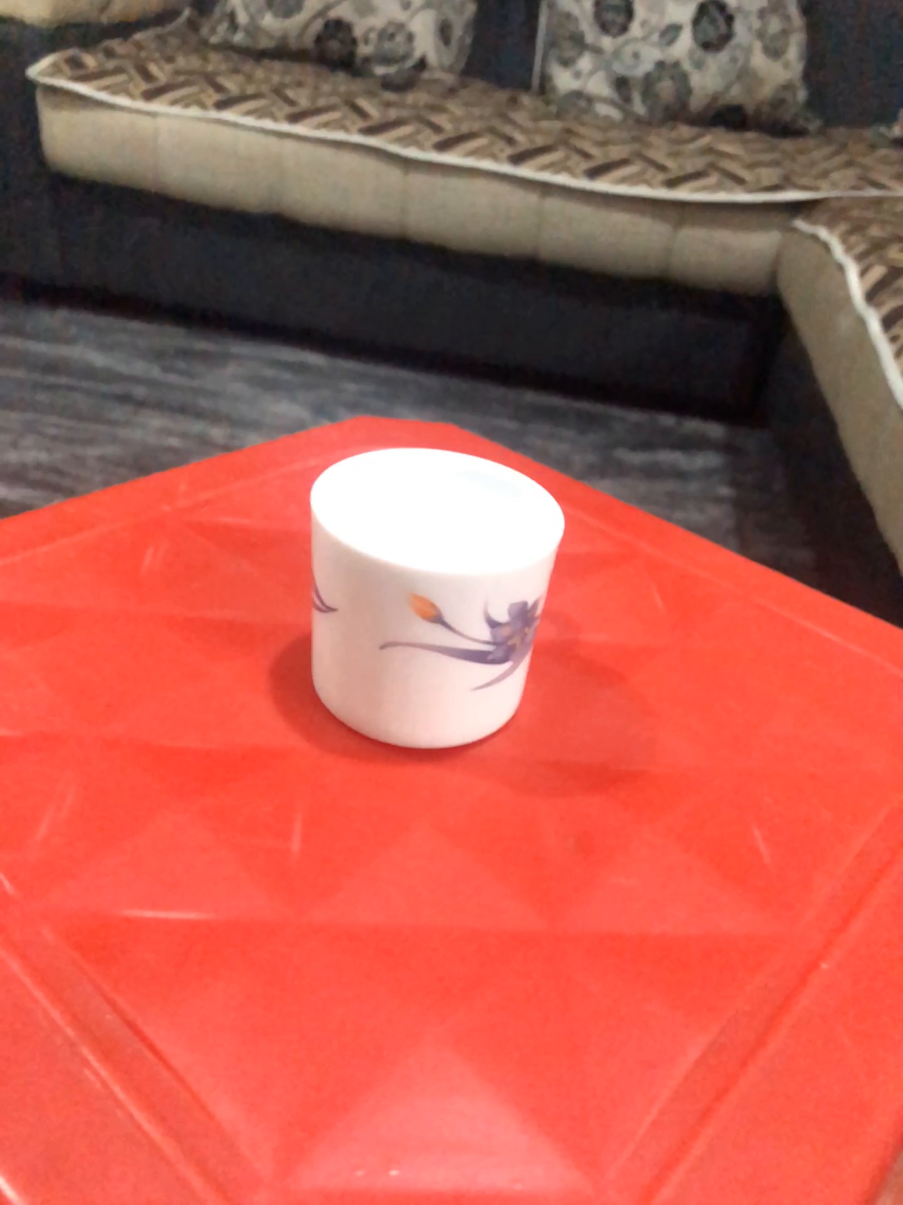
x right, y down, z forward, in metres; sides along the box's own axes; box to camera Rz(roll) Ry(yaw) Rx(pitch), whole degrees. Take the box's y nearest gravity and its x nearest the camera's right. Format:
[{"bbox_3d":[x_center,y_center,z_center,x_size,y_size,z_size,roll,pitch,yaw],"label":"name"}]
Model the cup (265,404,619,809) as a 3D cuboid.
[{"bbox_3d":[0.000,-0.004,0.279,0.070,0.060,0.090,14,33,8],"label":"cup"}]
